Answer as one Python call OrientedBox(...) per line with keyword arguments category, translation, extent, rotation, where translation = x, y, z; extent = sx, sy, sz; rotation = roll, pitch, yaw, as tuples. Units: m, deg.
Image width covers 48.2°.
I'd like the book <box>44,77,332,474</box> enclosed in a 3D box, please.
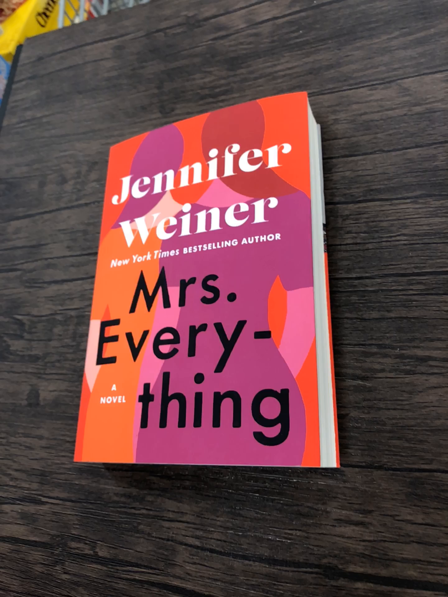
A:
OrientedBox(category="book", translation=(-0.022, -0.012, 0.324), extent=(0.161, 0.046, 0.232), rotation=(-7, 70, 22))
